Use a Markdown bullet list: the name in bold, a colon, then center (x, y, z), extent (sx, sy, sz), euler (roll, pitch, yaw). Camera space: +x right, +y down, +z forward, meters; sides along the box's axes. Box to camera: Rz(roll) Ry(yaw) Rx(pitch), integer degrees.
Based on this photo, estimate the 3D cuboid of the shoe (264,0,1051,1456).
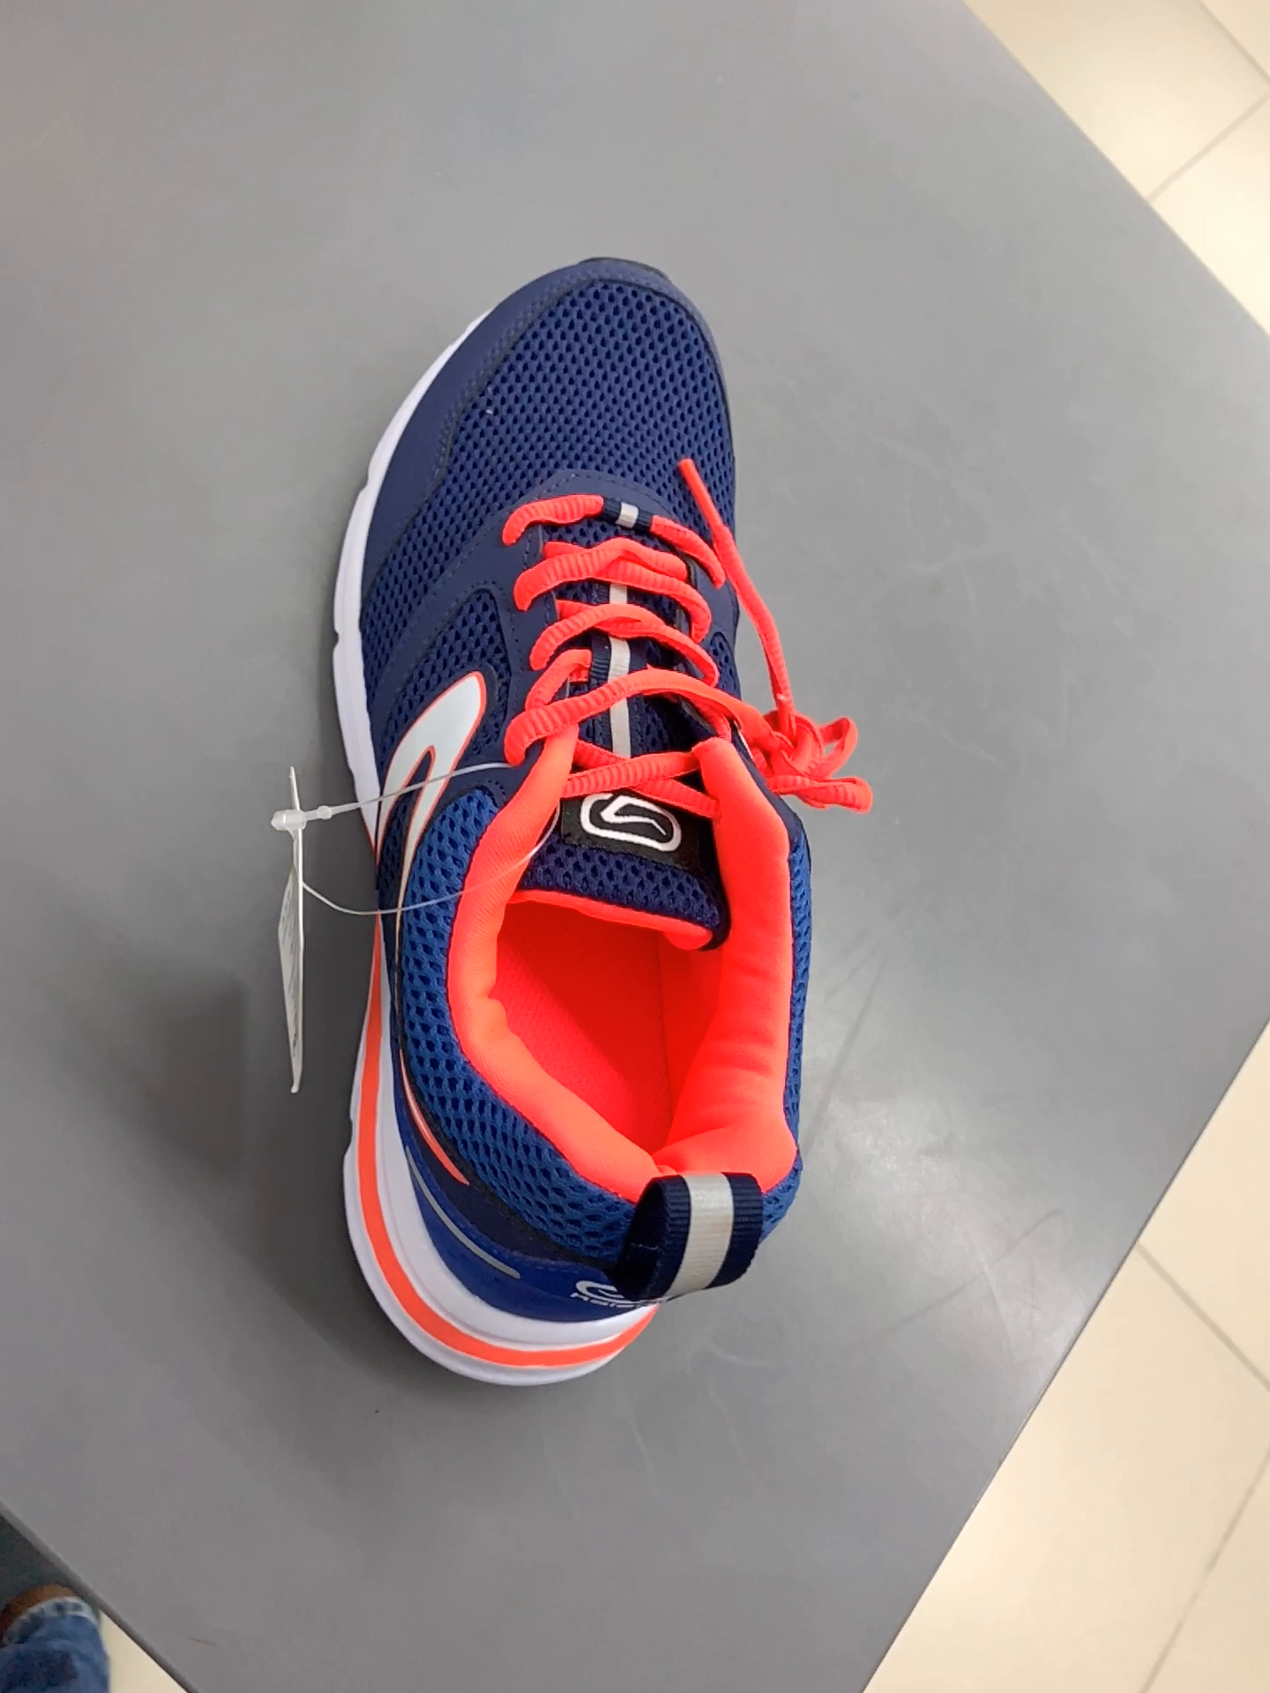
- **shoe**: center (-0.007, -0.033, 0.296), extent (0.110, 0.140, 0.290), euler (7, 72, -19)
